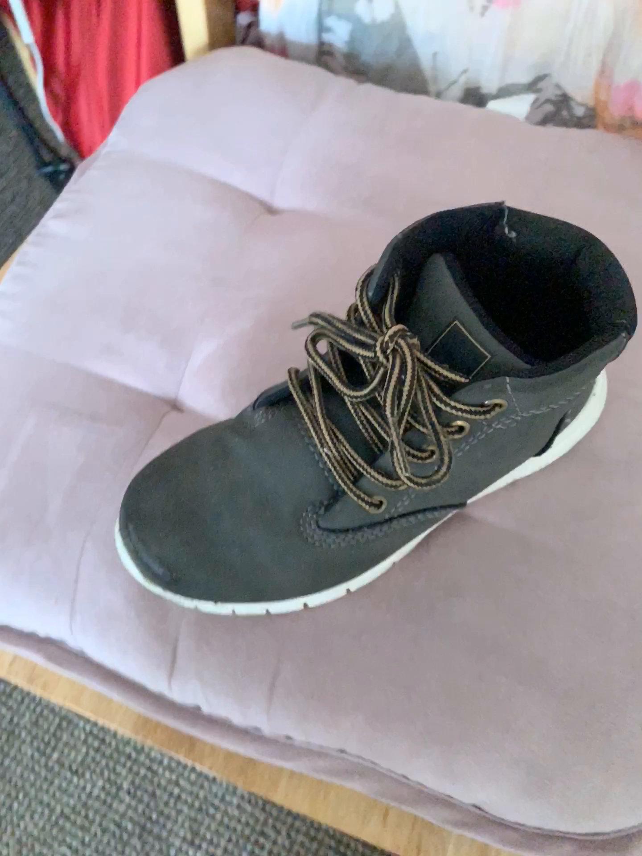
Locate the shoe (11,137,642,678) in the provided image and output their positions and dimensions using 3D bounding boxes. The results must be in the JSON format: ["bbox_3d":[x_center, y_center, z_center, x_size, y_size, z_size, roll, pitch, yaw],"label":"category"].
[{"bbox_3d":[0.022,0.000,0.286,0.230,0.129,0.100,-26,70,-11],"label":"shoe"}]
